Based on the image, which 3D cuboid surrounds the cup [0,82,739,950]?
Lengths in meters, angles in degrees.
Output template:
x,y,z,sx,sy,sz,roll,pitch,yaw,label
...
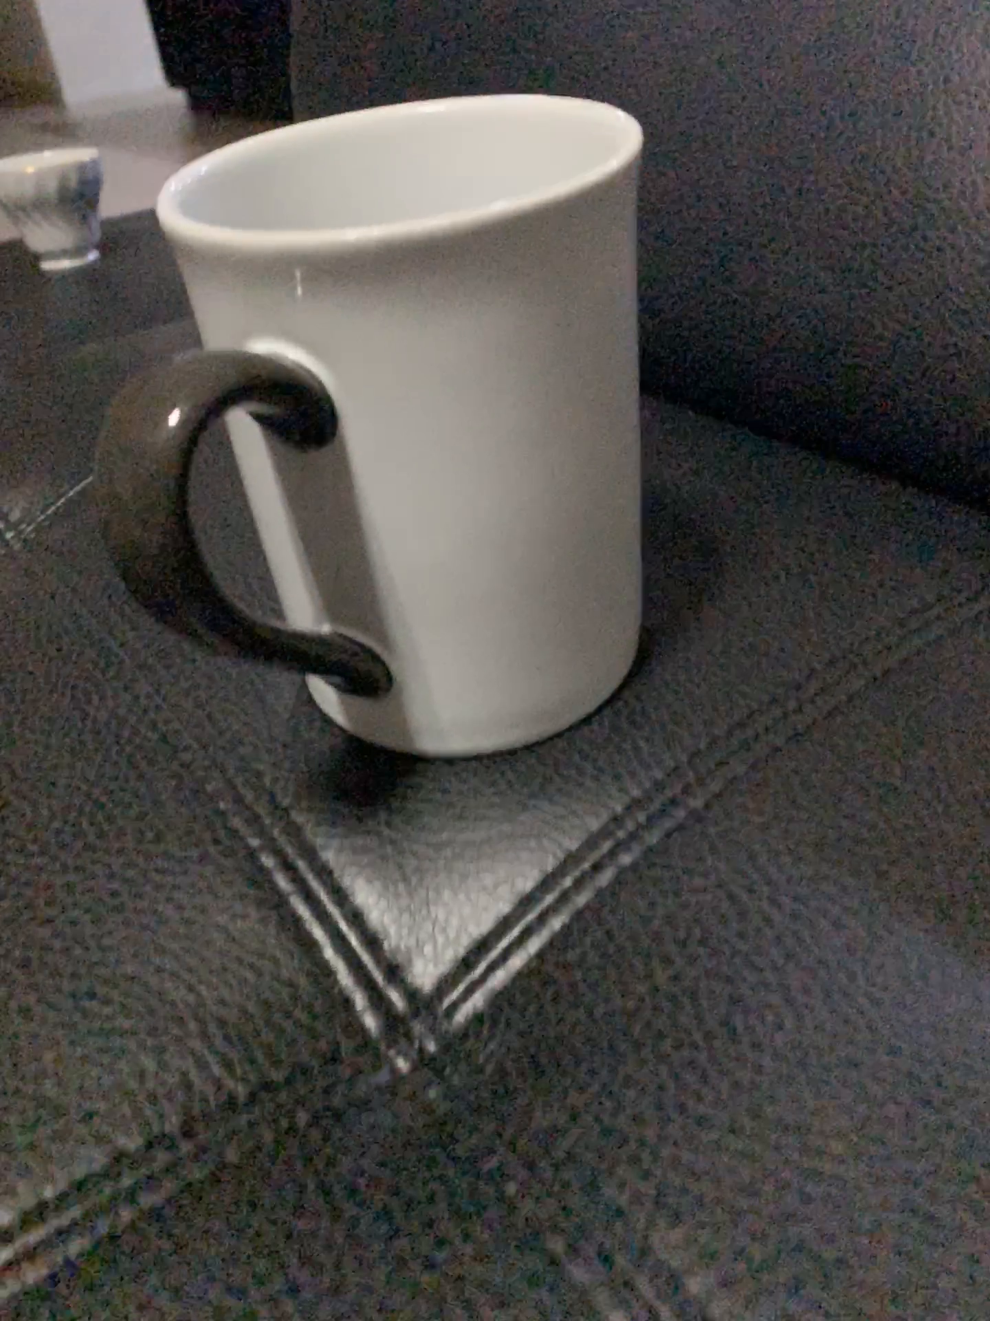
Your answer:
x,y,z,sx,sy,sz,roll,pitch,yaw,label
-0.021,-0.042,0.208,0.093,0.115,0.124,17,41,29,cup
